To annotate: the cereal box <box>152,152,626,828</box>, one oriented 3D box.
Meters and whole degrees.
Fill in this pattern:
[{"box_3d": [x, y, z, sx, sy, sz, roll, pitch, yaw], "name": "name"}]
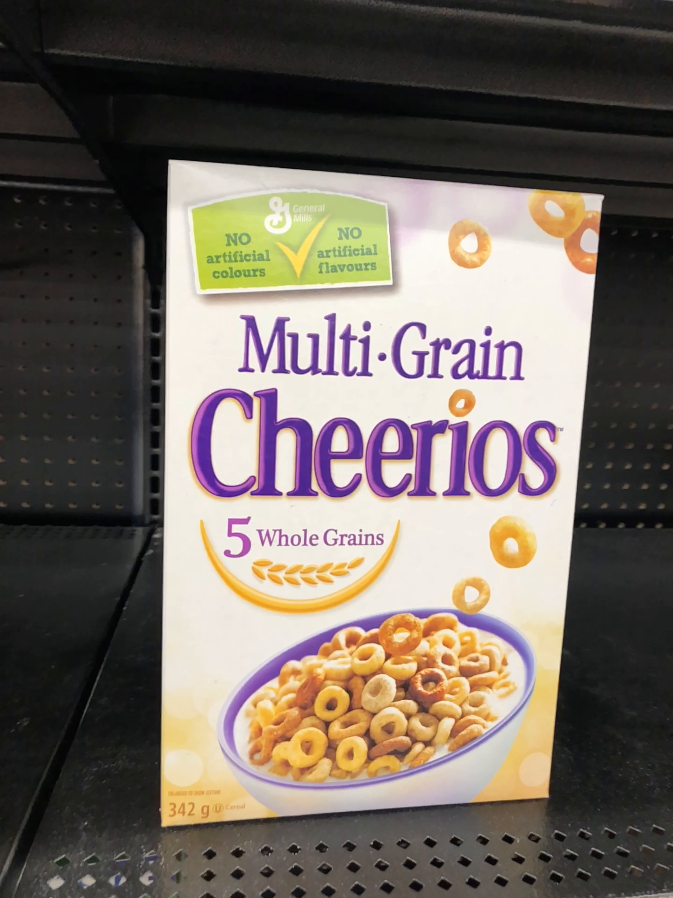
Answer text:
[{"box_3d": [0.016, 0.022, 0.362, 0.200, 0.289, 0.070, 1, 9, -10], "name": "cereal box"}]
